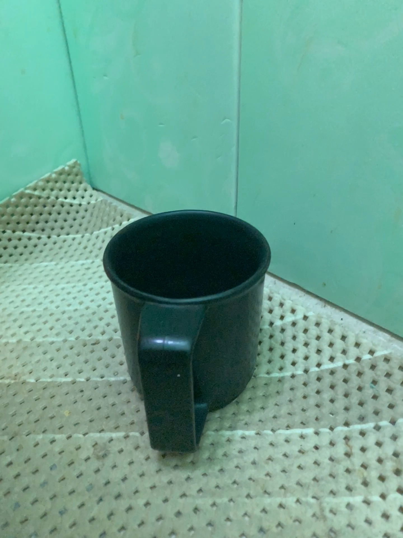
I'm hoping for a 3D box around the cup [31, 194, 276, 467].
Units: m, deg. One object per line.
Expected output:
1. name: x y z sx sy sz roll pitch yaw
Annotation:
1. cup: -0.012 0.023 0.219 0.090 0.082 0.112 2 35 6
